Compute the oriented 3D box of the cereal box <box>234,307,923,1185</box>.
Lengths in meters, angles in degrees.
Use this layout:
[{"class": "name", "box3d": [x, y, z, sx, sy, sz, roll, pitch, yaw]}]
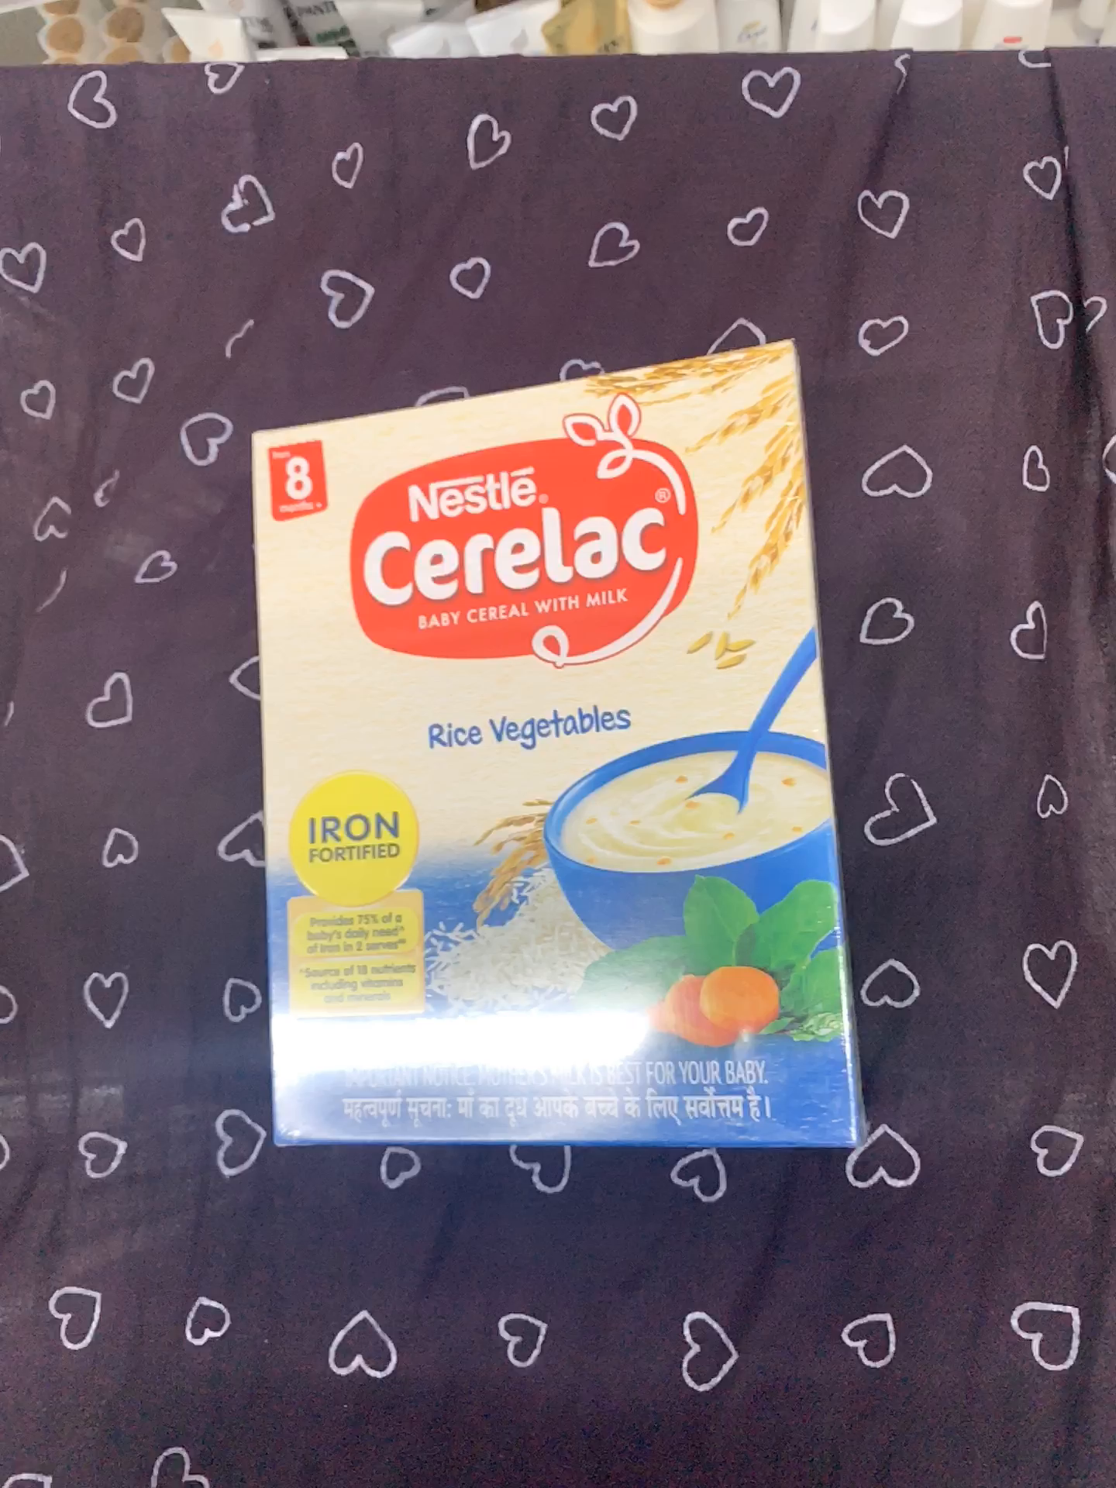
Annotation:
[{"class": "cereal box", "box3d": [0.001, 0.005, 0.291, 0.150, 0.050, 0.190, -6, 81, 14]}]
